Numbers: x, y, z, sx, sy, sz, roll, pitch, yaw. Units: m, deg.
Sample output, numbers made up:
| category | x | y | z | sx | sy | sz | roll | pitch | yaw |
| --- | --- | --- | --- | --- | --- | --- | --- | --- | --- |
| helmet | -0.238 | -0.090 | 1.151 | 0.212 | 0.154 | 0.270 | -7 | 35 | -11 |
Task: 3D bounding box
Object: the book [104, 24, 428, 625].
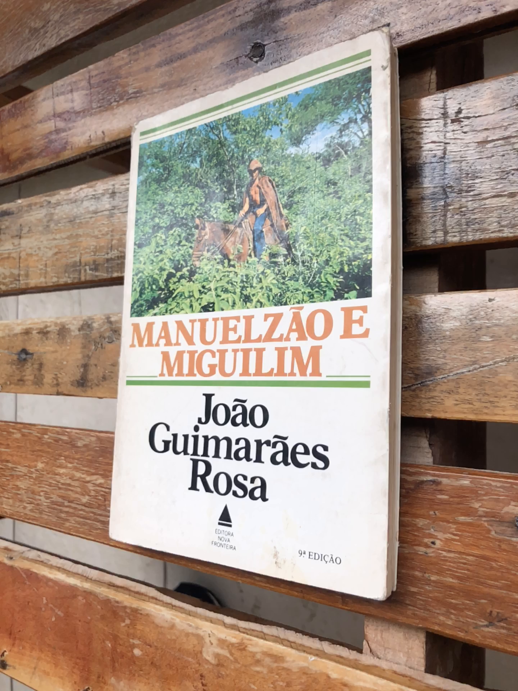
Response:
| category | x | y | z | sx | sy | sz | roll | pitch | yaw |
| --- | --- | --- | --- | --- | --- | --- | --- | --- | --- |
| book | -0.004 | -0.008 | 0.239 | 0.141 | 0.020 | 0.200 | -3 | 83 | 35 |
